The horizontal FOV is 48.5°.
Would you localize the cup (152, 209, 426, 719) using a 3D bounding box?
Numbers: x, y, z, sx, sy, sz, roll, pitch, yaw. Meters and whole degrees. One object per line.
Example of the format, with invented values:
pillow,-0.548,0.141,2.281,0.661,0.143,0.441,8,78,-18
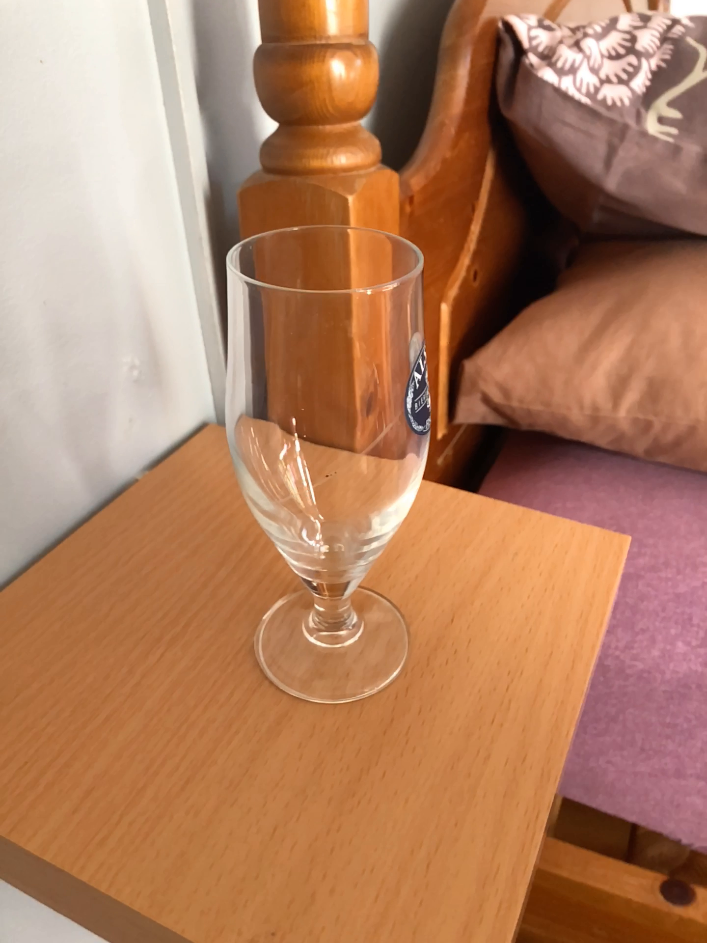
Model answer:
cup,-0.015,0.002,0.280,0.068,0.166,0.068,0,33,0
